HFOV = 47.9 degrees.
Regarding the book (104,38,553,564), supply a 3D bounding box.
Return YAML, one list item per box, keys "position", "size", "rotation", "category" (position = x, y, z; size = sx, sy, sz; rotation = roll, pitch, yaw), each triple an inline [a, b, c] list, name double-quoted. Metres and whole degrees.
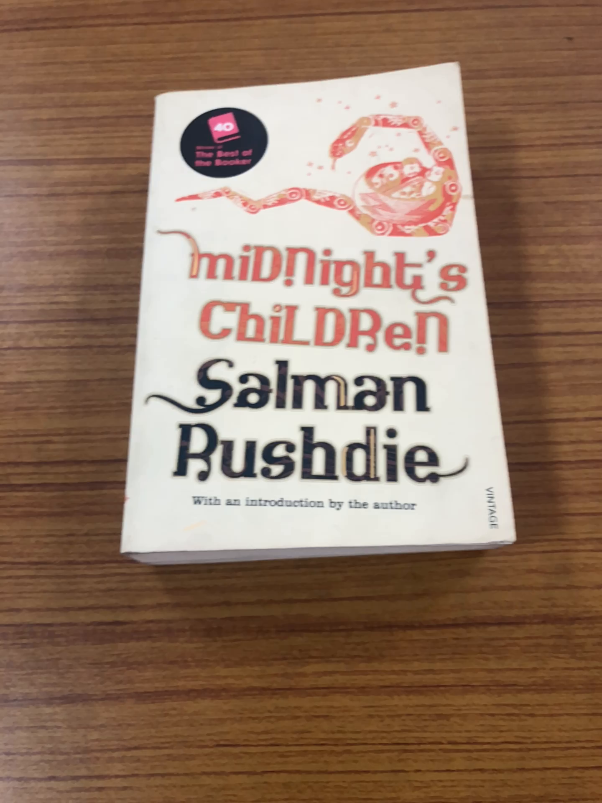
- position: [0.006, -0.044, 0.266]
  size: [0.140, 0.040, 0.200]
  rotation: [-3, 69, 5]
  category: "book"
